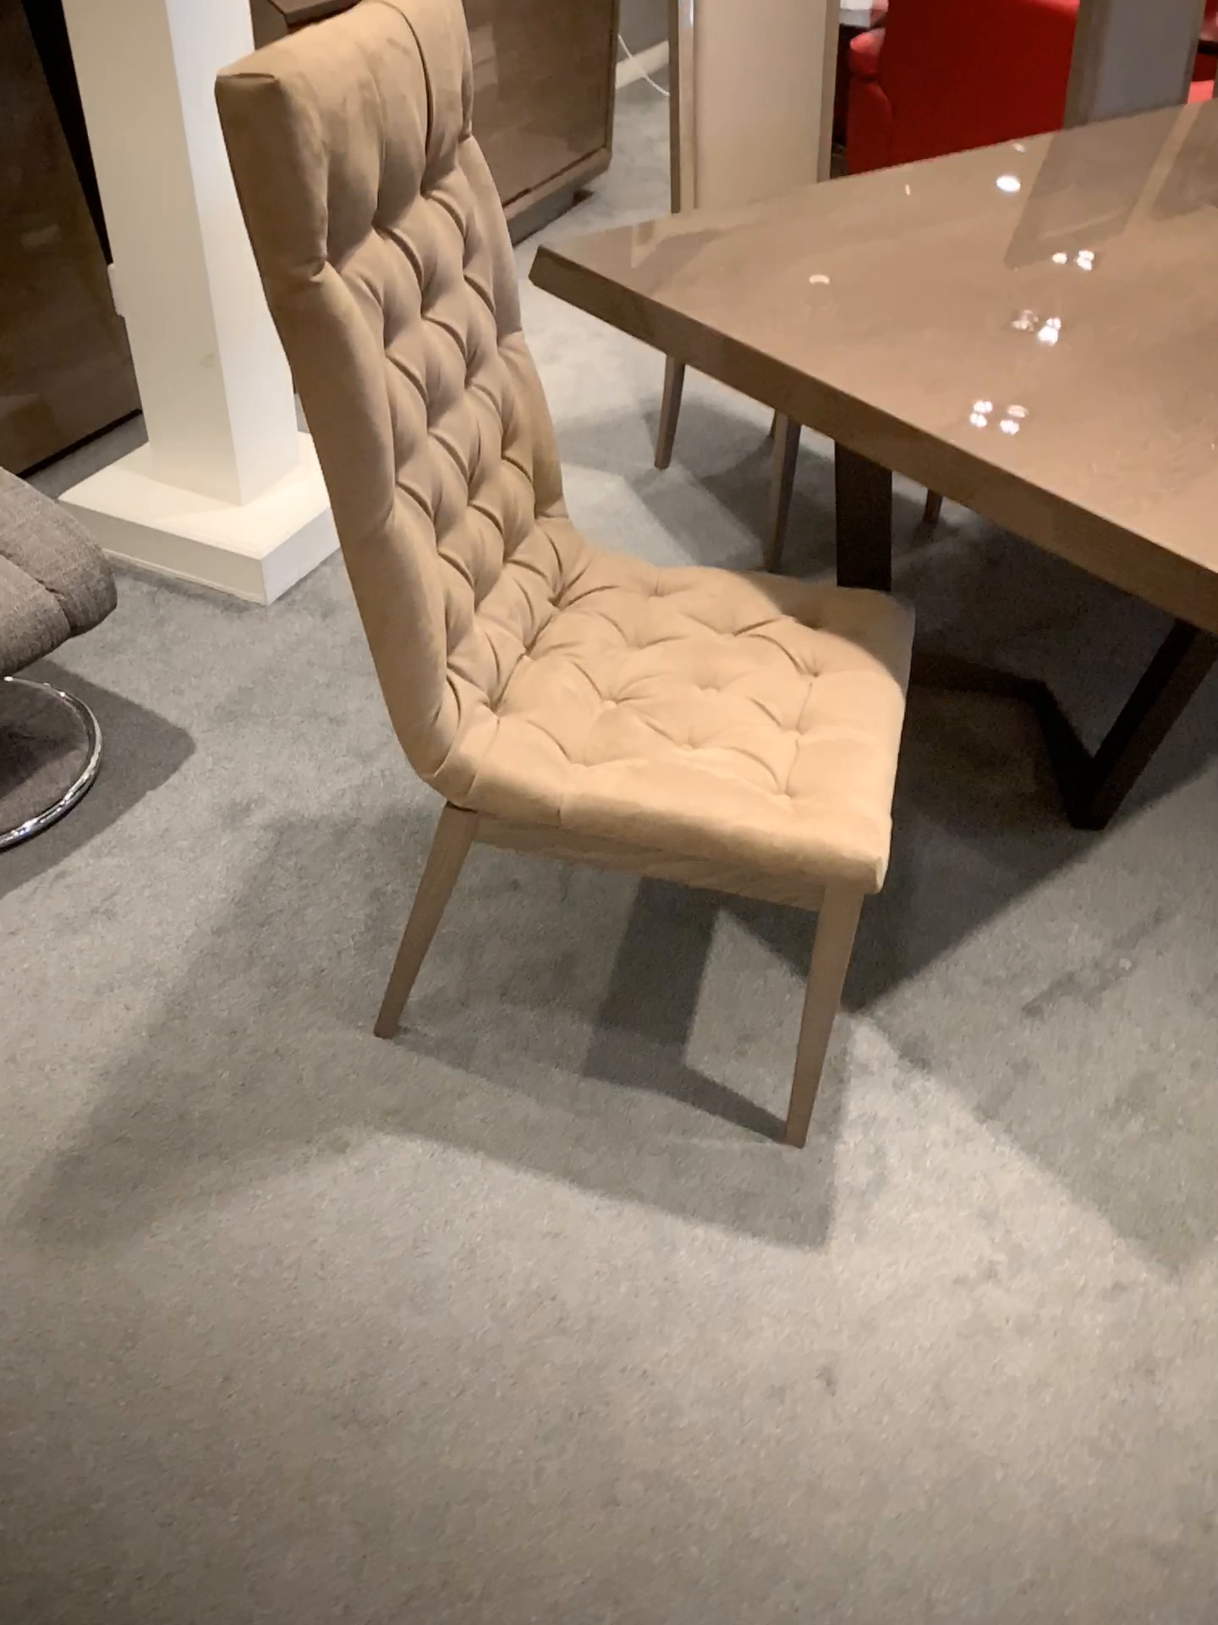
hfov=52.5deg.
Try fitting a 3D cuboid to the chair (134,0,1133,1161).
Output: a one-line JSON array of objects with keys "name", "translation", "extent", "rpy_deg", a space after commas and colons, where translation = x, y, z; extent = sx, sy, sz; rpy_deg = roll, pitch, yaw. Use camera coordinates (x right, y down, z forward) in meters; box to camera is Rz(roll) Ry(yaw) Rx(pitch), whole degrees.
[{"name": "chair", "translation": [0.027, -0.217, 1.298], "extent": [0.636, 1.020, 0.528], "rpy_deg": [11, 42, 8]}]

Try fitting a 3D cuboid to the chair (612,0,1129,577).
[{"name": "chair", "translation": [0.414, -1.111, 2.398], "extent": [0.524, 1.020, 0.641], "rpy_deg": [-17, 46, -22]}]
